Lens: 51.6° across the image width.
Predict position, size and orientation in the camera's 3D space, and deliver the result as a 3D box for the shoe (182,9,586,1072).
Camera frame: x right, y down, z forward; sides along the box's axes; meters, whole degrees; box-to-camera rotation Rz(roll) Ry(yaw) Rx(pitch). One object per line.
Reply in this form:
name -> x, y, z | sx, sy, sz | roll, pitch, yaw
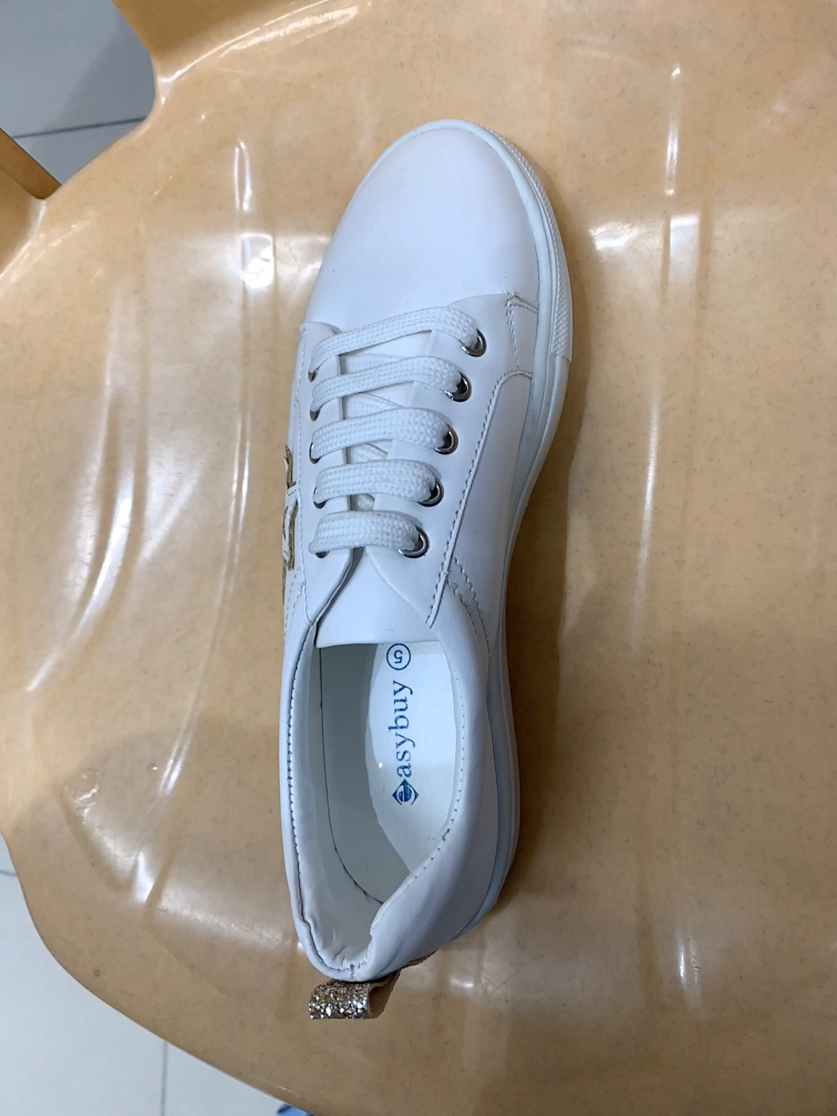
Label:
shoe -> -0.004, -0.004, 0.254 | 0.090, 0.090, 0.240 | 0, 90, 21
